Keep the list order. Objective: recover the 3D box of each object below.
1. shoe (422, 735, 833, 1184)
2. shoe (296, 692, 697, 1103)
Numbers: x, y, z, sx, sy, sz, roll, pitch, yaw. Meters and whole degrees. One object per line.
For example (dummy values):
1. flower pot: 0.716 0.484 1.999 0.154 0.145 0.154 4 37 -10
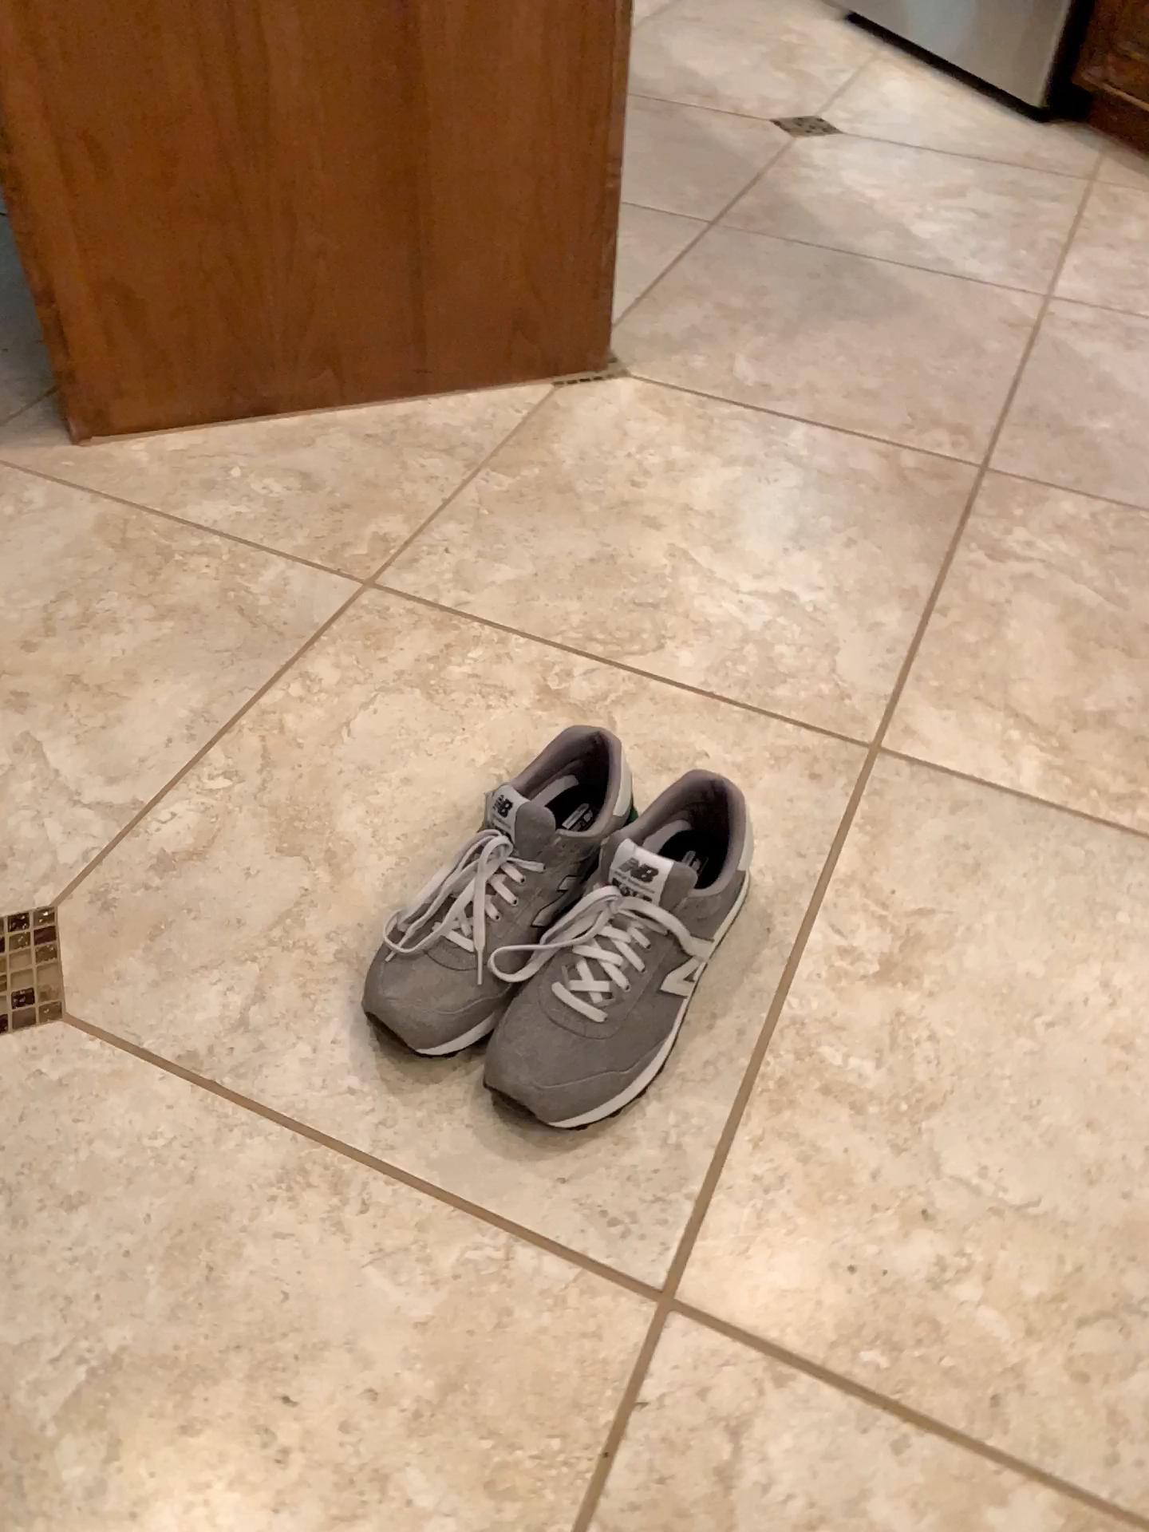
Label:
1. shoe: 0.041 0.117 0.791 0.116 0.103 0.285 31 52 25
2. shoe: -0.046 0.081 0.828 0.116 0.103 0.275 31 52 25
